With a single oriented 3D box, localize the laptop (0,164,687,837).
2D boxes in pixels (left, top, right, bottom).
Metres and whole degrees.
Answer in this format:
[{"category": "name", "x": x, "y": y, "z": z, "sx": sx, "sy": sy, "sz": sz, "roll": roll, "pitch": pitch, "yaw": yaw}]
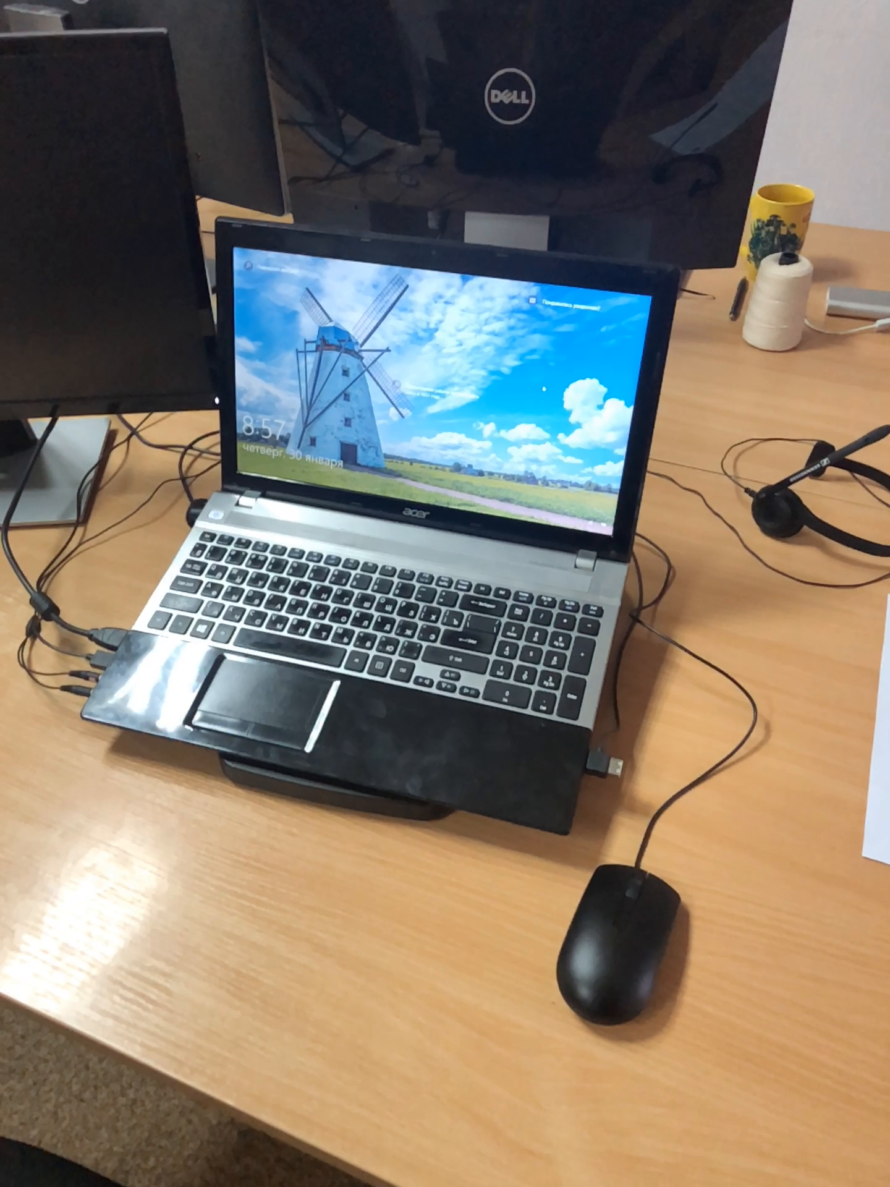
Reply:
[{"category": "laptop", "x": -0.048, "y": -0.094, "z": 0.727, "sx": 0.373, "sy": 0.211, "sz": 0.361, "roll": 11, "pitch": 52, "yaw": 12}]
